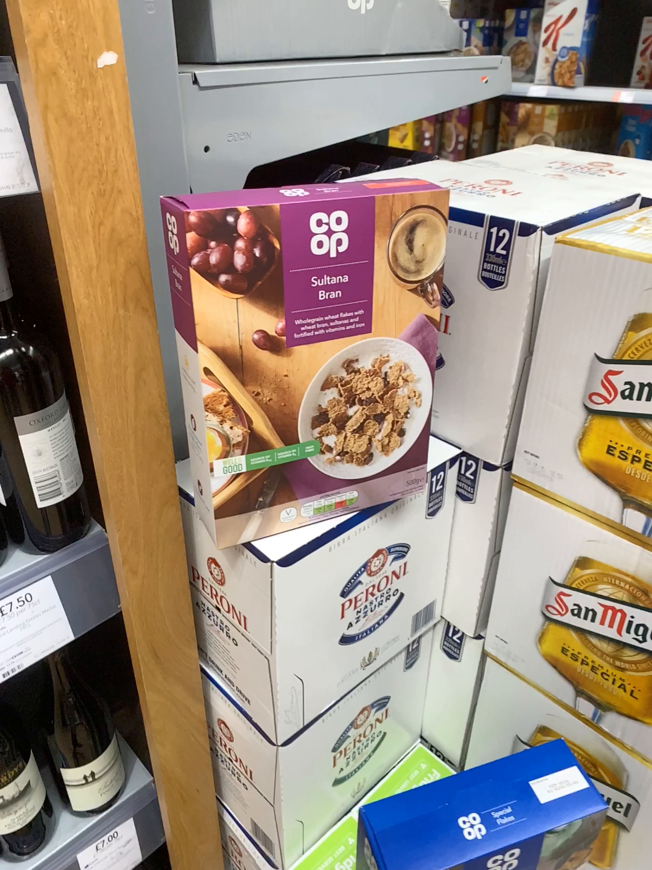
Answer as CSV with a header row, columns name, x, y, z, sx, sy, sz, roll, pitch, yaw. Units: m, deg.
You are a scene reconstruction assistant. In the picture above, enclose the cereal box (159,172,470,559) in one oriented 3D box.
name,x,y,z,sx,sy,sz,roll,pitch,yaw
cereal box,-0.005,-0.054,0.517,0.200,0.258,0.071,-13,32,-21
